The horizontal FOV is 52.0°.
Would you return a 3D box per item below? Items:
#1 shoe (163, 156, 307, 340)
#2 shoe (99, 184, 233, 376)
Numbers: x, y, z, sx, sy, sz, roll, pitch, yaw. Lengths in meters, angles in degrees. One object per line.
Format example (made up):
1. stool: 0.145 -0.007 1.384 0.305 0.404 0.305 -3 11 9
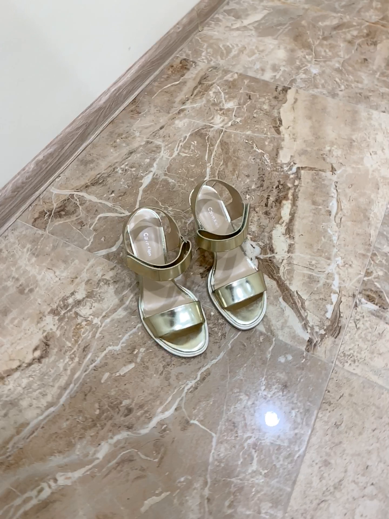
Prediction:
1. shoe: 0.047 -0.021 0.594 0.100 0.120 0.231 -21 59 -13
2. shoe: -0.044 0.026 0.566 0.095 0.129 0.221 -21 58 -13
